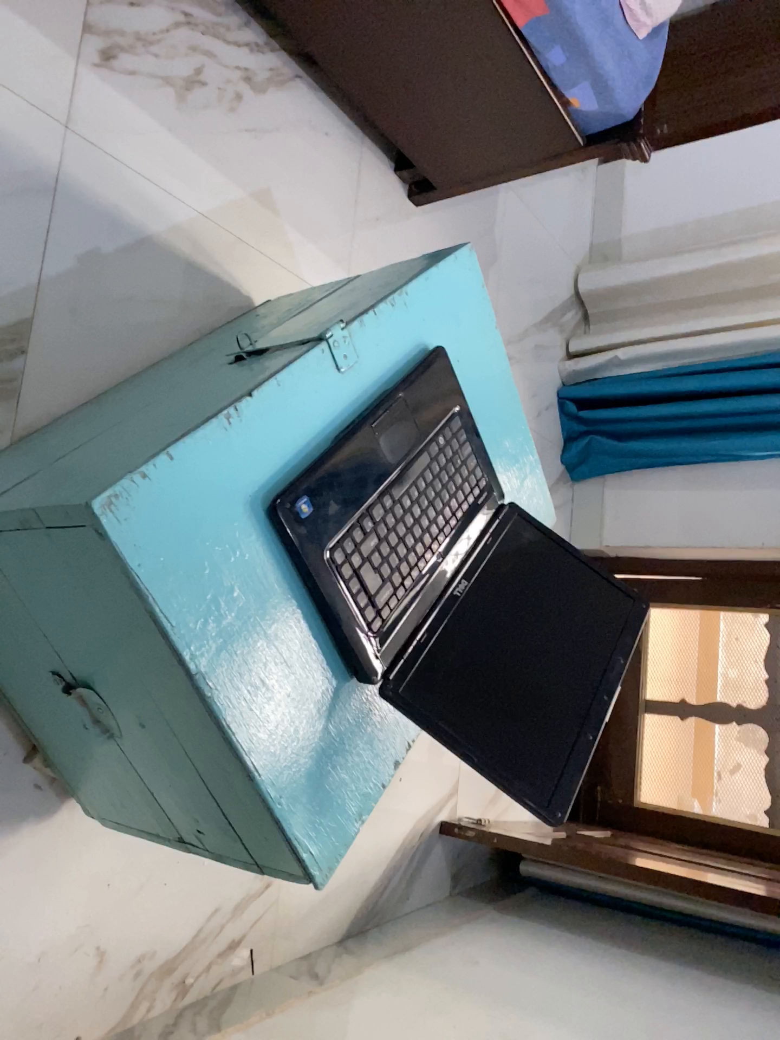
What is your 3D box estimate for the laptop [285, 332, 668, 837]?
[{"bbox_3d":[0.138,0.058,0.907,0.364,0.162,0.413,-50,124,-42],"label":"laptop"}]
